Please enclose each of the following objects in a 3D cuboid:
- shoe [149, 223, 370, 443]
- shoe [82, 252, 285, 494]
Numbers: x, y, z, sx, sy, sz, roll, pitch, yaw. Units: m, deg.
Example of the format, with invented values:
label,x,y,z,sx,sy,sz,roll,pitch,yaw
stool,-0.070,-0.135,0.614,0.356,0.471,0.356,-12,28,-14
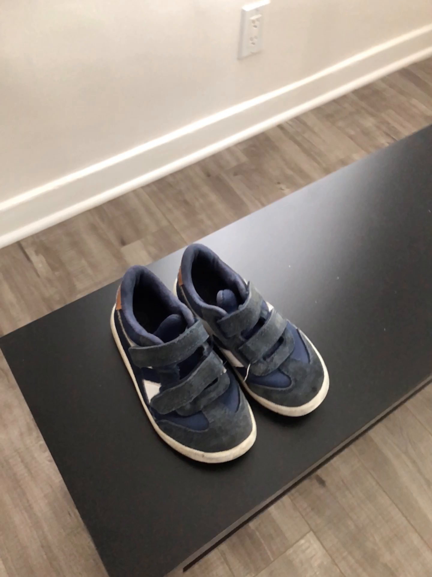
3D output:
label,x,y,z,sx,sy,sz,roll,pitch,yaw
shoe,0.033,0.036,0.448,0.088,0.068,0.185,-38,67,-24
shoe,-0.034,0.068,0.423,0.082,0.068,0.185,-29,63,-20
